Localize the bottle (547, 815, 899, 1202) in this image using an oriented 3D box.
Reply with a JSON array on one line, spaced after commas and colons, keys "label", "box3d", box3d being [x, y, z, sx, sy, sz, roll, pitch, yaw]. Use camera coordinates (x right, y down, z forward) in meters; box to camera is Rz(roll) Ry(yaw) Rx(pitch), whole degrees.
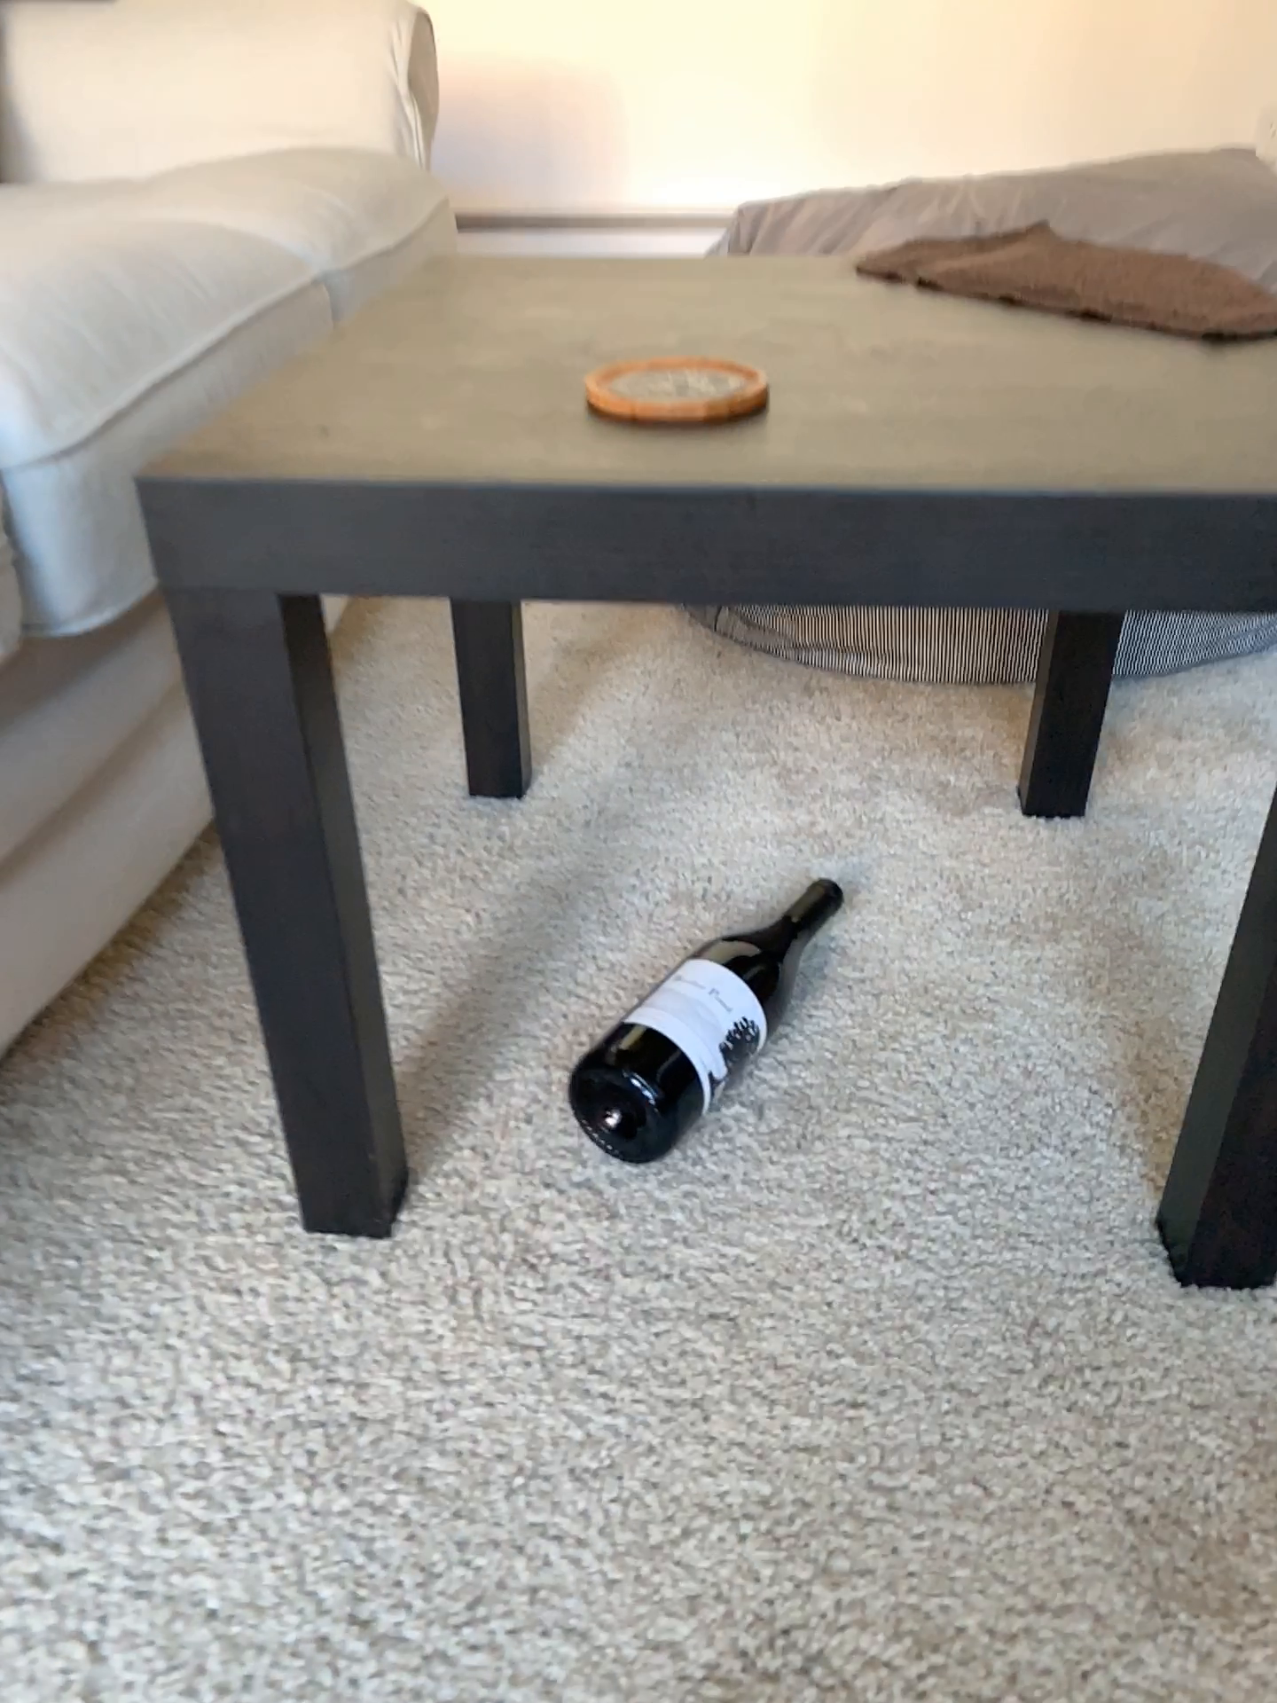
[{"label": "bottle", "box3d": [0.063, 0.092, 0.857, 0.080, 0.080, 0.281, 34, 46, 15]}]
